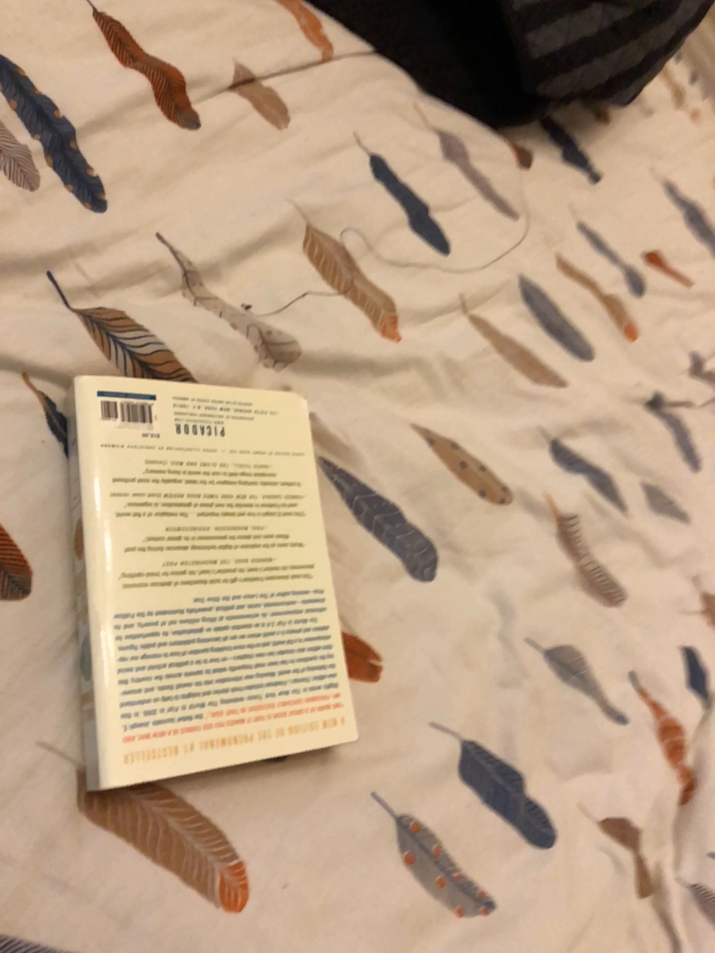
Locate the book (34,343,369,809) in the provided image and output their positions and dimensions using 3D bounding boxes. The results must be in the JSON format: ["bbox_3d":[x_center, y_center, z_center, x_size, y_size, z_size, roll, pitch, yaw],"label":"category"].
[{"bbox_3d":[-0.084,0.045,0.430,0.151,0.040,0.220,0,73,-38],"label":"book"}]
